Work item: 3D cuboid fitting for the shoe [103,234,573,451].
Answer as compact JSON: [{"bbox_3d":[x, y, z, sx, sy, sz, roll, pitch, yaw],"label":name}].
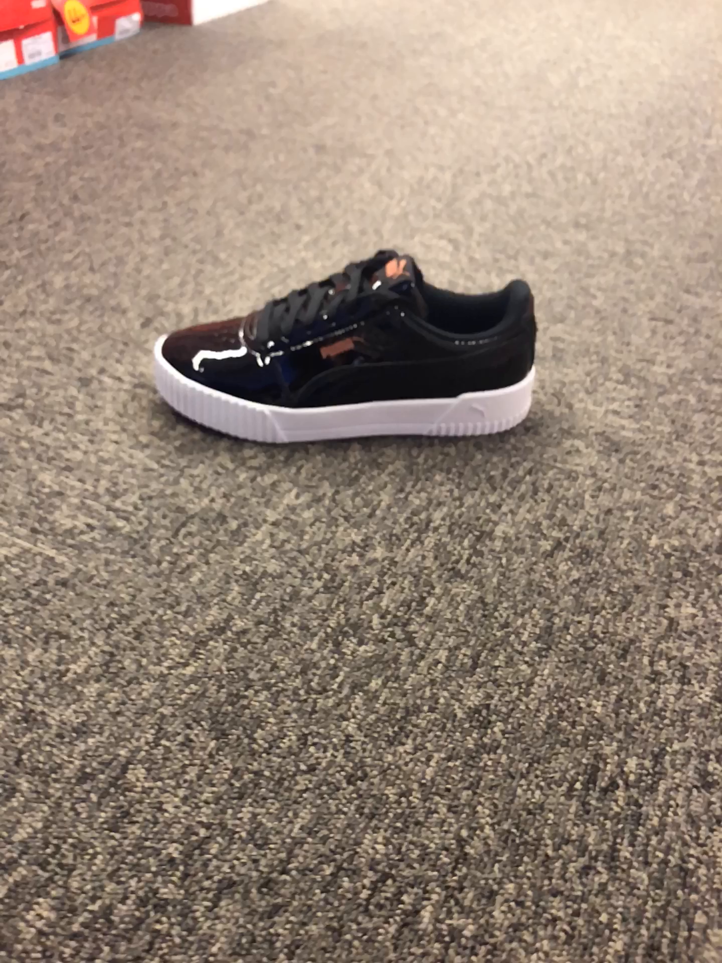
[{"bbox_3d":[-0.012,-0.090,0.514,0.260,0.099,0.101,0,39,1],"label":"shoe"}]
